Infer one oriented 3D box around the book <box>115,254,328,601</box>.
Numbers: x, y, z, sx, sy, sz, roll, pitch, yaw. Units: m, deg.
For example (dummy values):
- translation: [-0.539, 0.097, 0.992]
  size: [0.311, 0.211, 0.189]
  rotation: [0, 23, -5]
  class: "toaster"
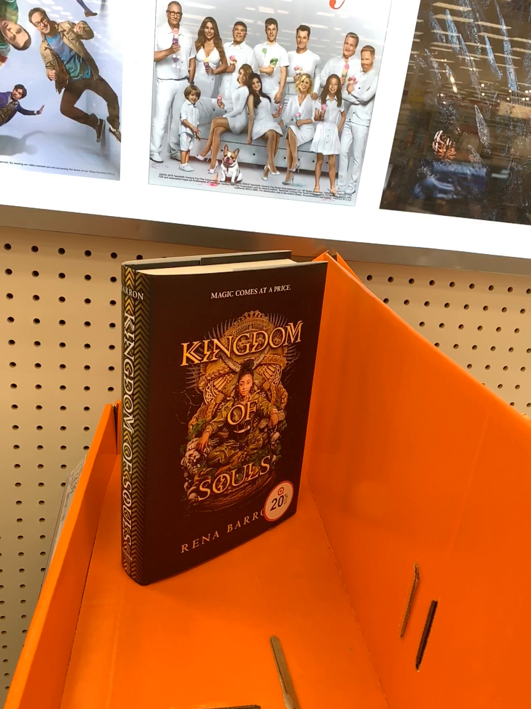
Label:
- translation: [-0.034, 0.048, 0.428]
  size: [0.160, 0.240, 0.040]
  rotation: [-11, 24, -40]
  class: "book"
